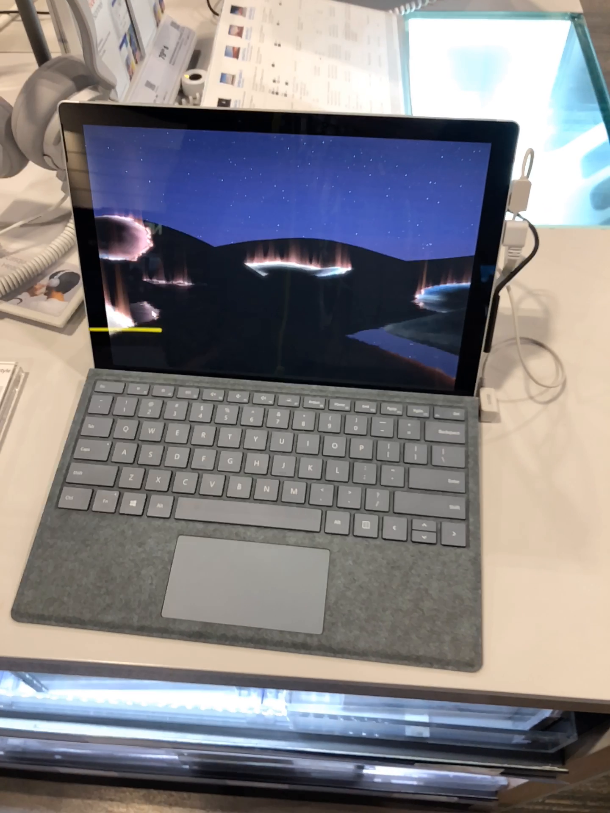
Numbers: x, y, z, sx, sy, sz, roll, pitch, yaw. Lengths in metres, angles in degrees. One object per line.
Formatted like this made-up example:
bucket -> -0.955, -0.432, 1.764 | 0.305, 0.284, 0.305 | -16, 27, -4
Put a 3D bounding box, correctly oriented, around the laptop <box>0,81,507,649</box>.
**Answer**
laptop -> -0.031, -0.031, 0.408 | 0.261, 0.143, 0.284 | 4, 61, 9
